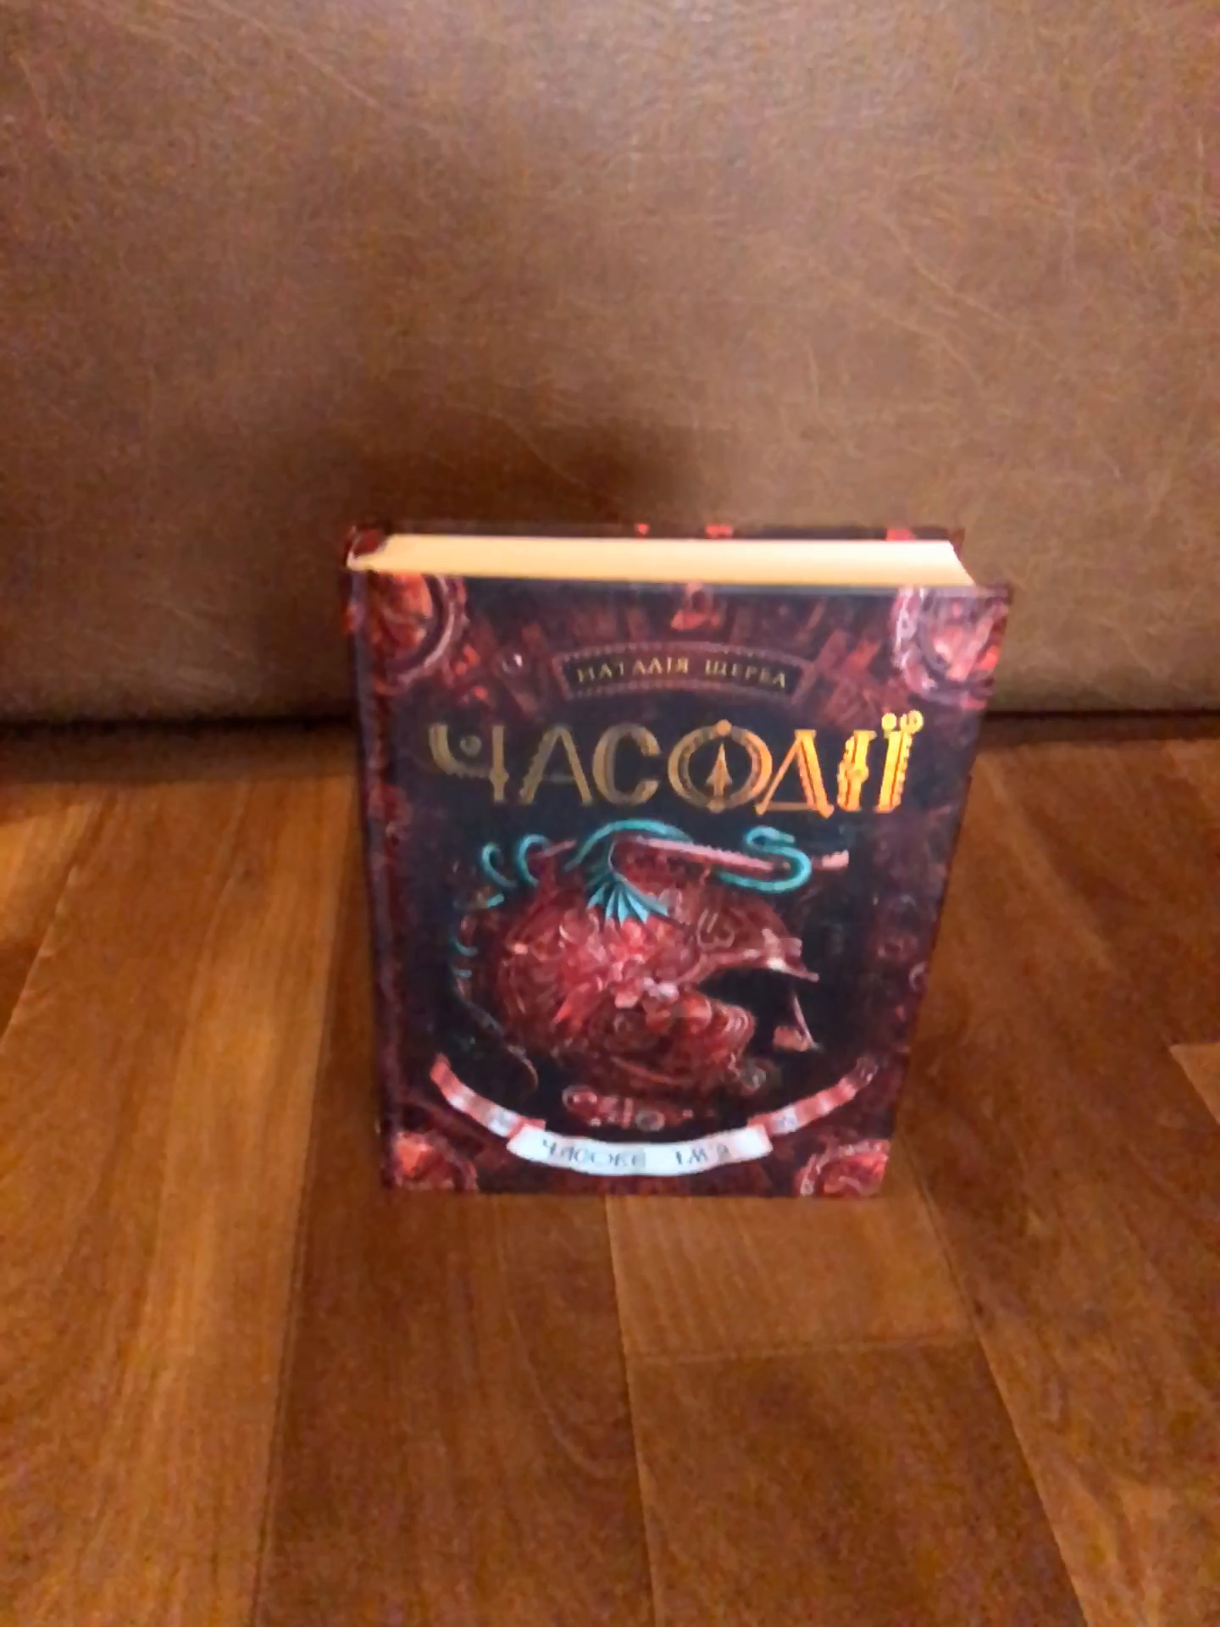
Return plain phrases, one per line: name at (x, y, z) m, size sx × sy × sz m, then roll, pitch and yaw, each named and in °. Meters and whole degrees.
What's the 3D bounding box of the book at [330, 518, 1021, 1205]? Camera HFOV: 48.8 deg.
book at (0.011, 0.026, 0.405) m, size 0.170 × 0.220 × 0.040 m, roll 1°, pitch 32°, yaw -3°
